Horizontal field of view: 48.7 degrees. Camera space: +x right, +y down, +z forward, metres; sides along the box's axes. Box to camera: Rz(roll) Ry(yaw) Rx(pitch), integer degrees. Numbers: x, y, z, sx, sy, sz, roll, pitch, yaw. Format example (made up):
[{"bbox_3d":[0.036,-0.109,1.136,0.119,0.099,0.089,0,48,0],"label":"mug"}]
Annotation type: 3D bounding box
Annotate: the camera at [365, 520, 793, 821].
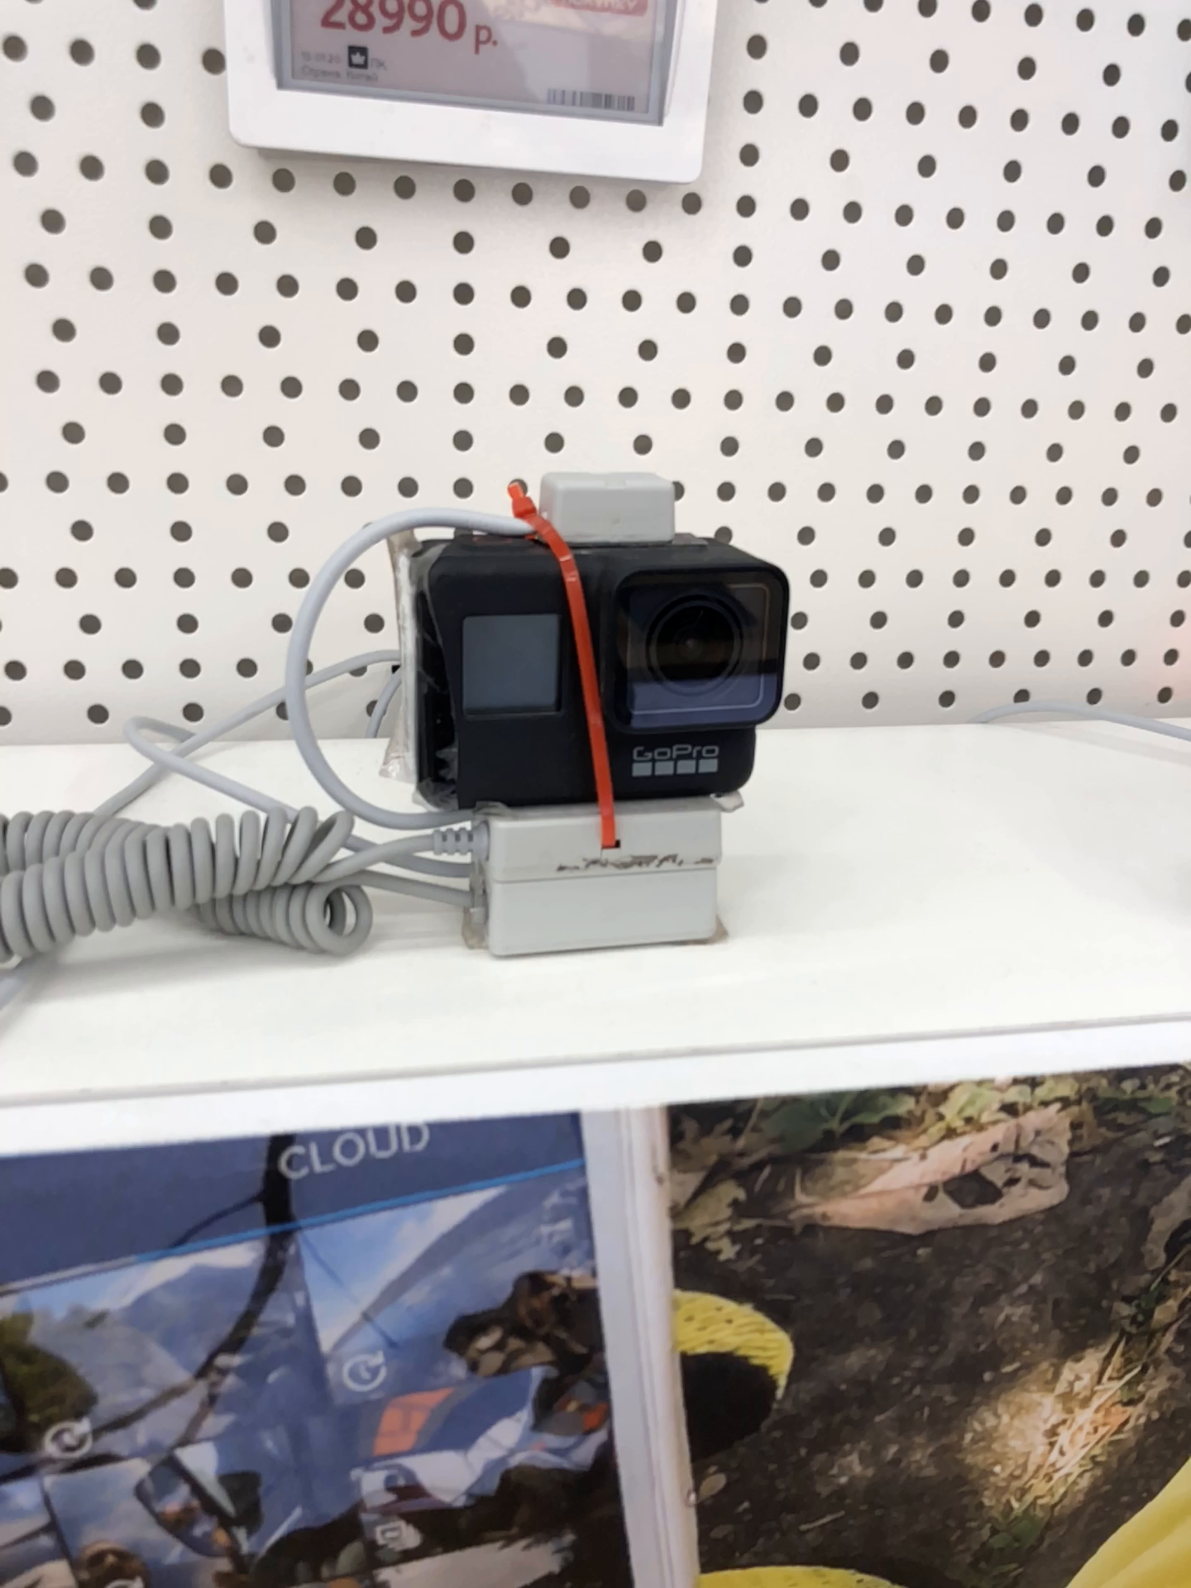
[{"bbox_3d":[-0.004,-0.023,0.226,0.066,0.044,0.029,-3,20,-14],"label":"camera"}]
